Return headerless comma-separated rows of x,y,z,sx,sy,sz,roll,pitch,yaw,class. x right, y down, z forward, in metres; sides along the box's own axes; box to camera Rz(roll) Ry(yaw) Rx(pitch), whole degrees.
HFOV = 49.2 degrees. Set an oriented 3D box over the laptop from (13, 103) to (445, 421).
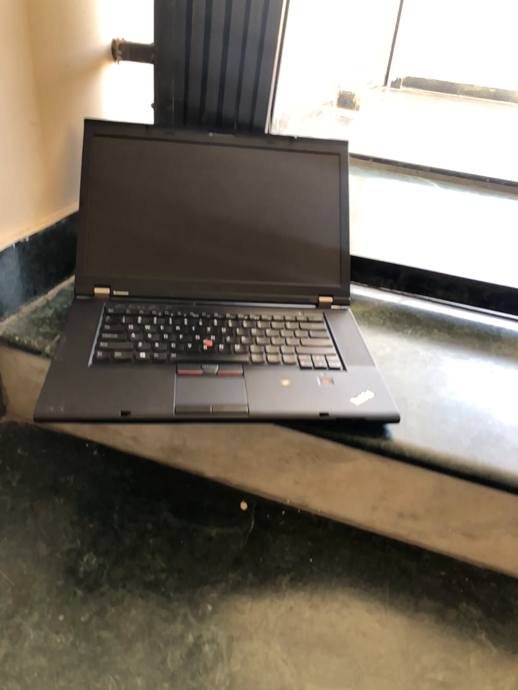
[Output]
-0.043,-0.122,0.667,0.359,0.181,0.390,2,35,-8,laptop
